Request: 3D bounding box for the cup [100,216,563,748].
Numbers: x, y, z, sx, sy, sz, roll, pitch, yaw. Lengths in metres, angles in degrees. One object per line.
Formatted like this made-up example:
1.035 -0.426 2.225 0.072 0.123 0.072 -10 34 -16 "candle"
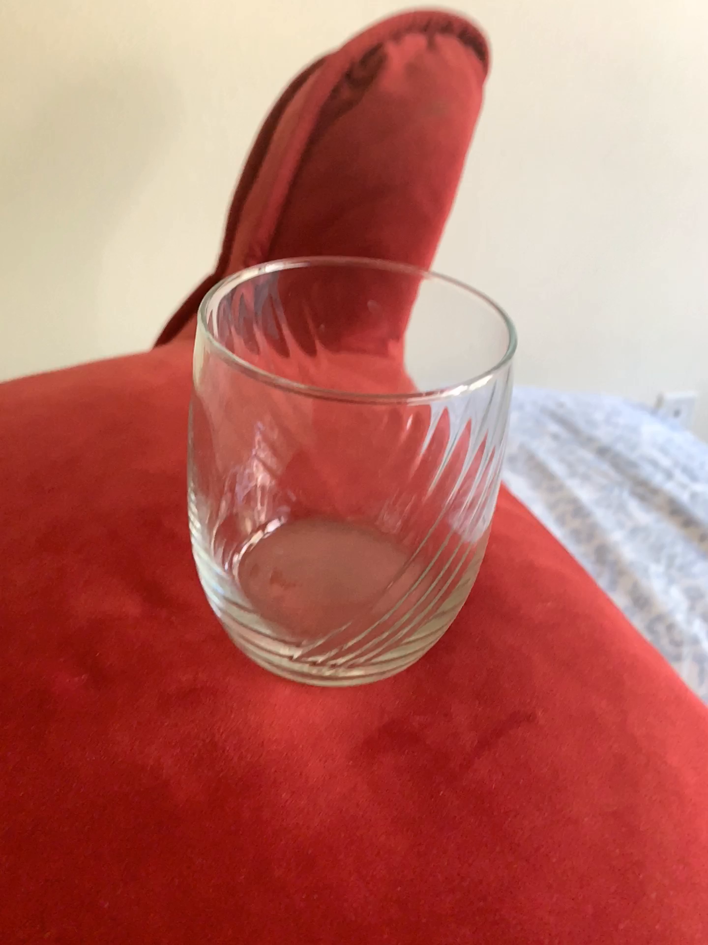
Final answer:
0.001 -0.002 0.185 0.080 0.090 0.080 2 37 -1 "cup"
